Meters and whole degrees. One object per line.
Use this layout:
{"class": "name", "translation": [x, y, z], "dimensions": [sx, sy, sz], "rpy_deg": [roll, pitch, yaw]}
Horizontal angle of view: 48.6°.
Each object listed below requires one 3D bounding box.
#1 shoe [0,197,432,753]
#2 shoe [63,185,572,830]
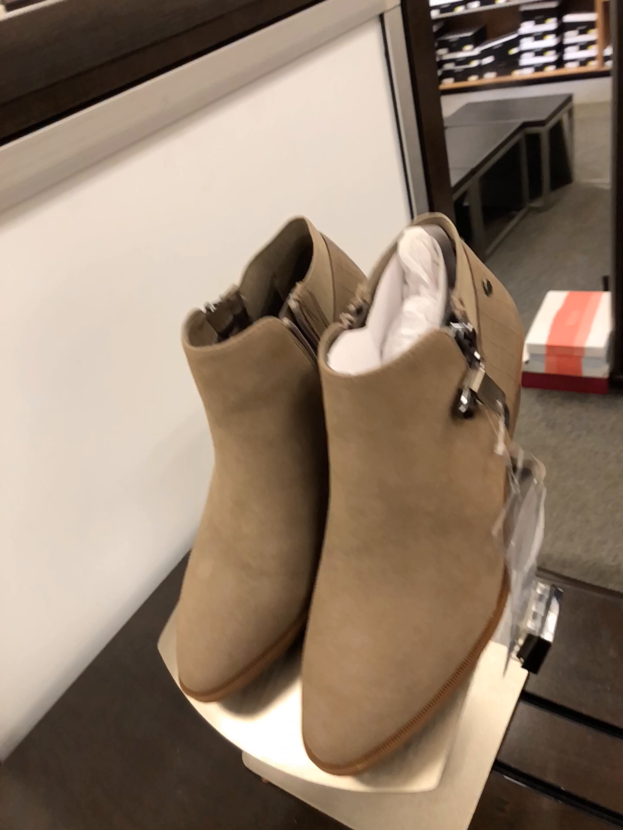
{"class": "shoe", "translation": [-0.035, 0.016, 0.360], "dimensions": [0.095, 0.152, 0.231], "rpy_deg": [8, 48, 32]}
{"class": "shoe", "translation": [0.037, 0.026, 0.312], "dimensions": [0.095, 0.153, 0.240], "rpy_deg": [8, 46, 32]}
